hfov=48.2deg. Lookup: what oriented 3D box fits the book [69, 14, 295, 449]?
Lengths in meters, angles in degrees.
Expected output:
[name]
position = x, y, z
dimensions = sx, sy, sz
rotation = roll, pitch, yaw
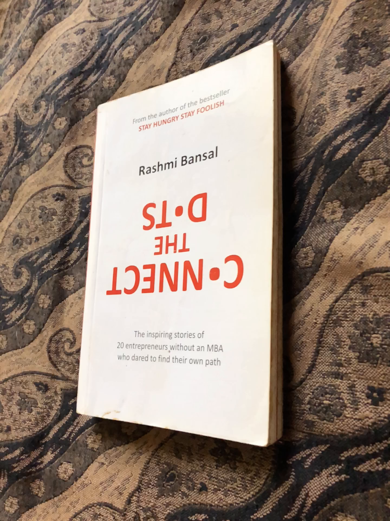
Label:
[book]
position = -0.009, -0.016, 0.267
dimensions = 0.130, 0.040, 0.220
rotation = -7, 75, 36
